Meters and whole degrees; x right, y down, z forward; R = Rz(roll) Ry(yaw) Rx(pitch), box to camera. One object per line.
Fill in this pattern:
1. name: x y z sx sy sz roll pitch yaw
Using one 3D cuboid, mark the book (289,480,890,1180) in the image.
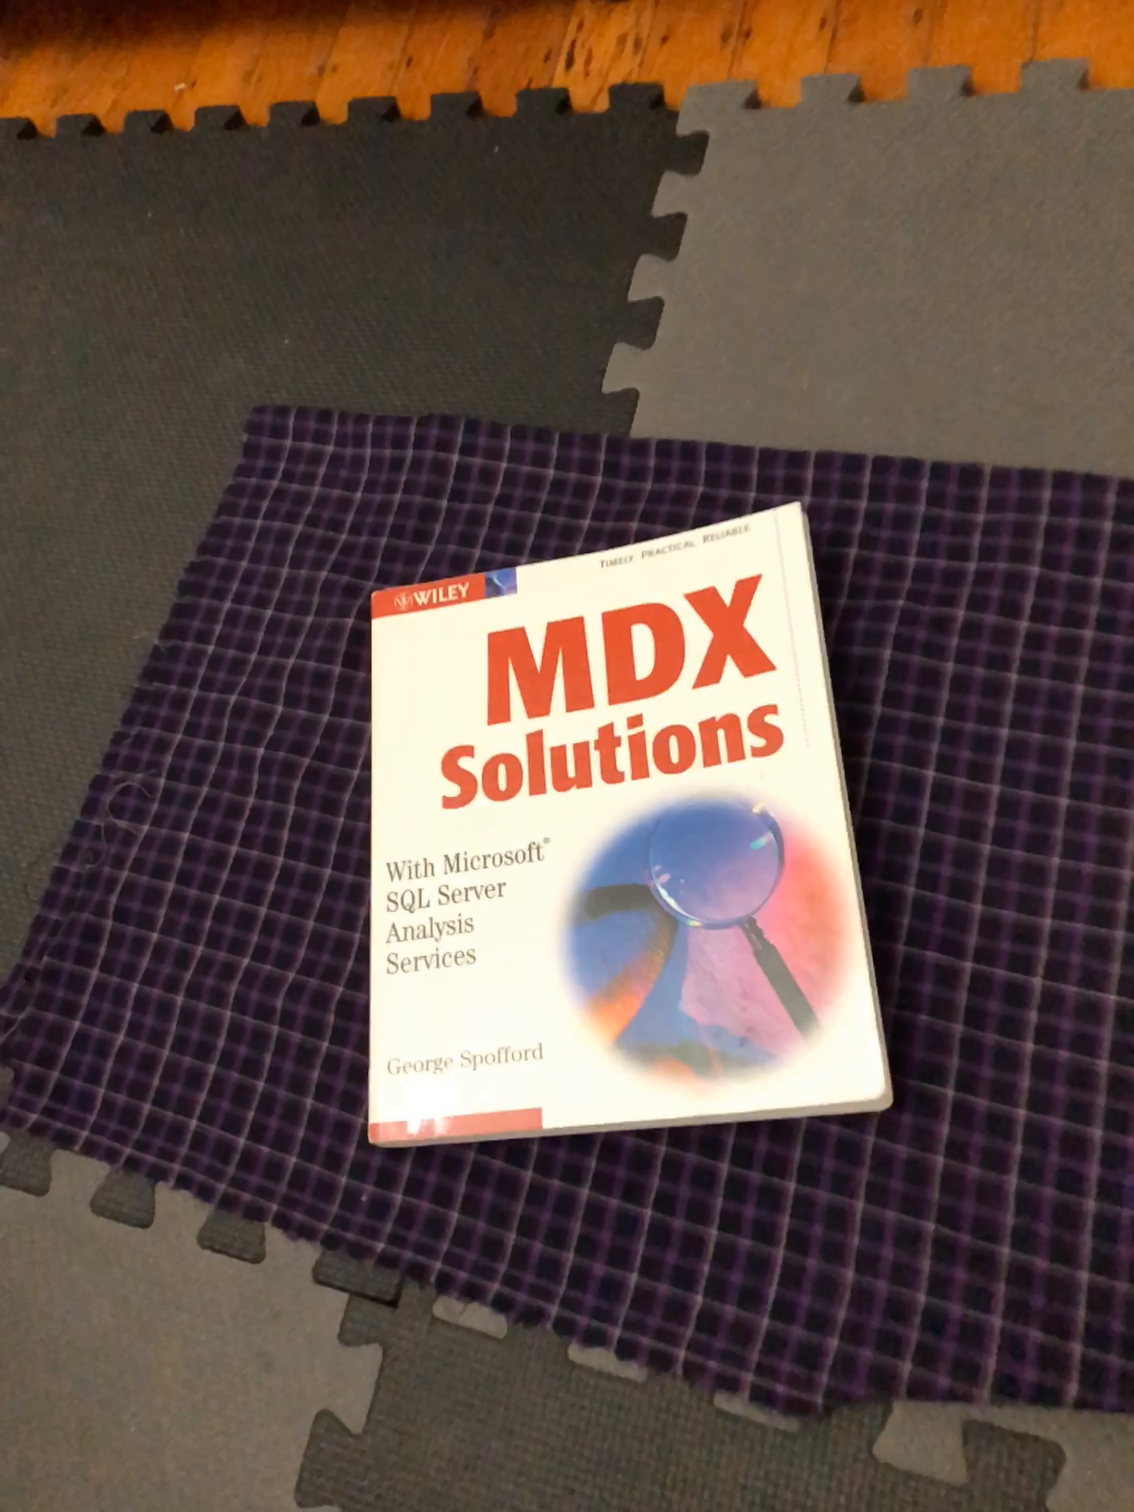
1. book: 0.001 0.029 0.520 0.220 0.050 0.261 -9 65 14
